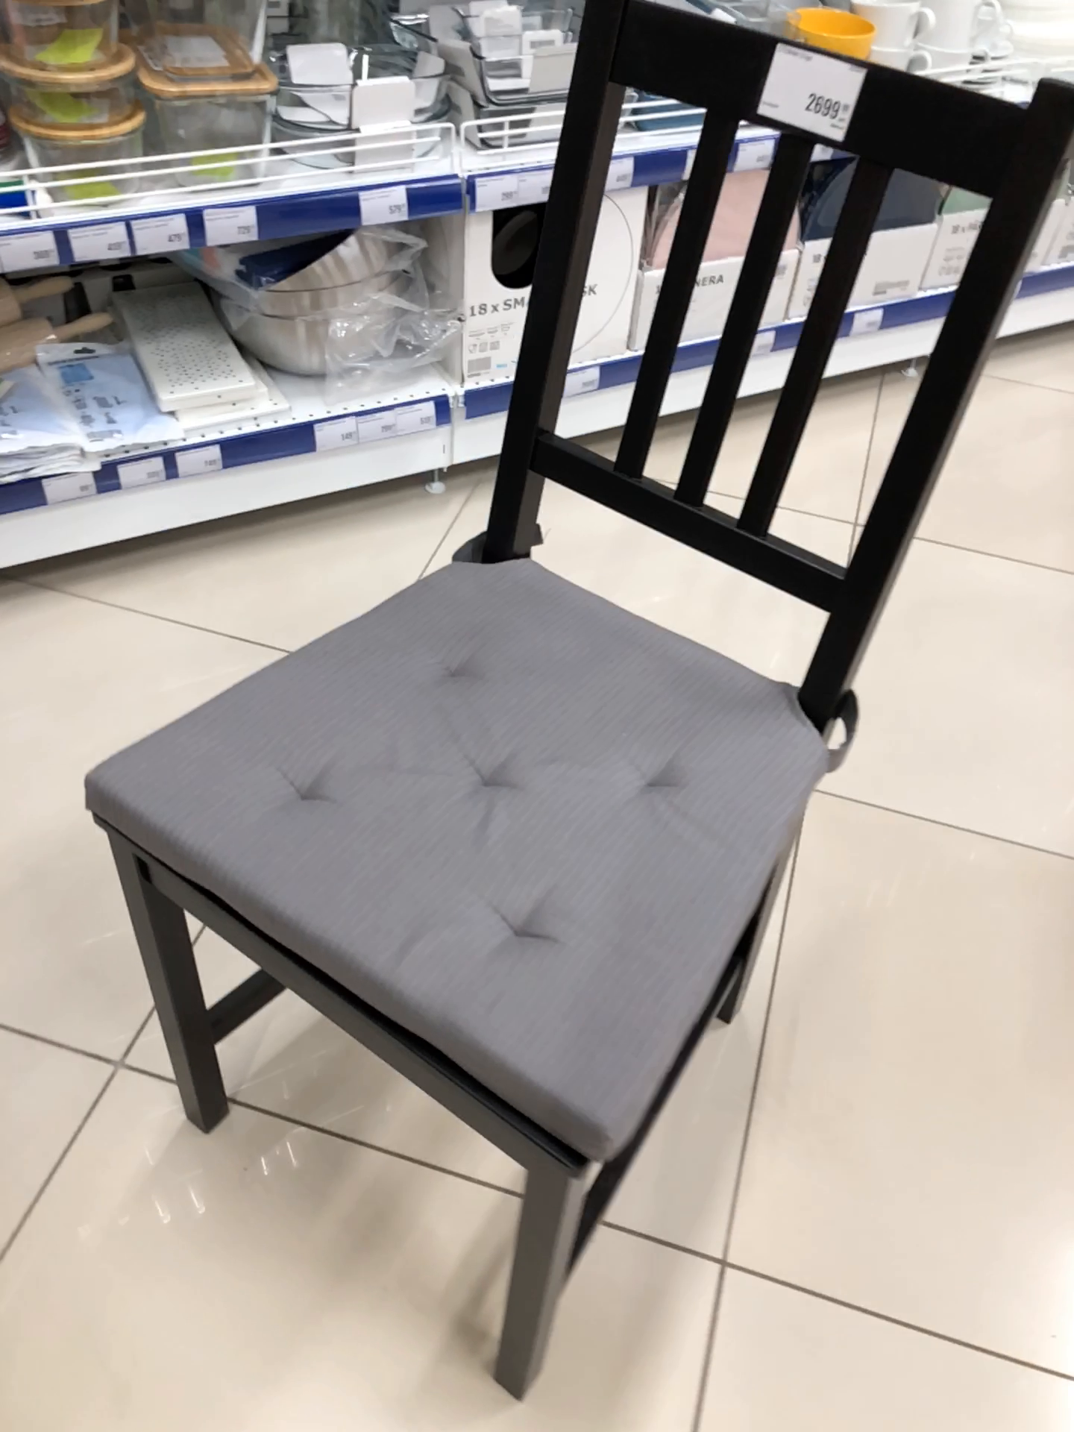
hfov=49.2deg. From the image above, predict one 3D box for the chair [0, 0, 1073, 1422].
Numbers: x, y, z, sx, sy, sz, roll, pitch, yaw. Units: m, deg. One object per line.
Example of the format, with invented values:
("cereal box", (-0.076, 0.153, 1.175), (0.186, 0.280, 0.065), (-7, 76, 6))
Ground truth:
("chair", (-0.020, 0.027, 0.830), (0.401, 0.854, 0.463), (28, 48, 22))
